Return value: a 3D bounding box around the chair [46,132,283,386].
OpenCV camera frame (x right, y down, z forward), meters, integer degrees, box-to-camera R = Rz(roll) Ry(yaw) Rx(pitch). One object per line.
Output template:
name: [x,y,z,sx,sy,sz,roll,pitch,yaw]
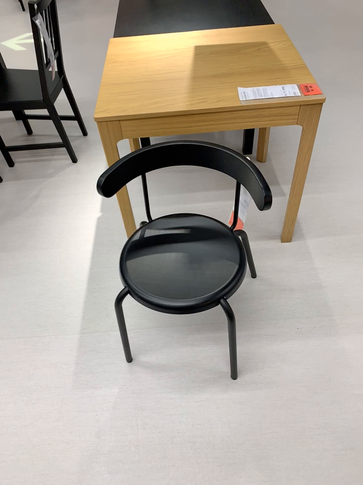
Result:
chair: [0.014,0.050,1.331,0.590,0.598,0.612,6,50,10]
